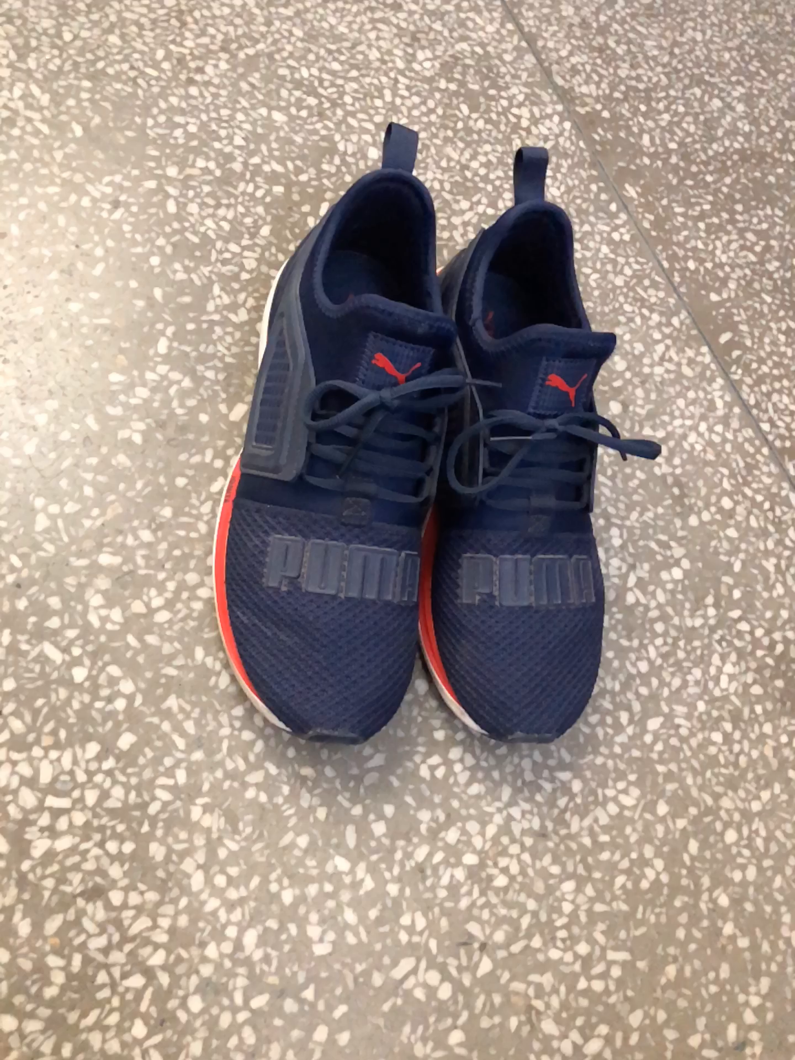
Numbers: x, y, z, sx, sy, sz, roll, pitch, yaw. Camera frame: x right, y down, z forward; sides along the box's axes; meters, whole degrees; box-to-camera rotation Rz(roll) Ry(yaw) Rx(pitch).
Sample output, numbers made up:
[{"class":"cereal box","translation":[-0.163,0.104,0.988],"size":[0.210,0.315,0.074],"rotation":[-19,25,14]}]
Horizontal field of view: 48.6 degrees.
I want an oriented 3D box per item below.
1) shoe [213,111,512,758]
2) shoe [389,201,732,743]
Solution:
[{"class":"shoe","translation":[-0.029,-0.041,0.406],"size":[0.100,0.100,0.270],"rotation":[2,70,-17]},{"class":"shoe","translation":[0.064,-0.023,0.431],"size":[0.100,0.120,0.230],"rotation":[0,70,-12]}]
